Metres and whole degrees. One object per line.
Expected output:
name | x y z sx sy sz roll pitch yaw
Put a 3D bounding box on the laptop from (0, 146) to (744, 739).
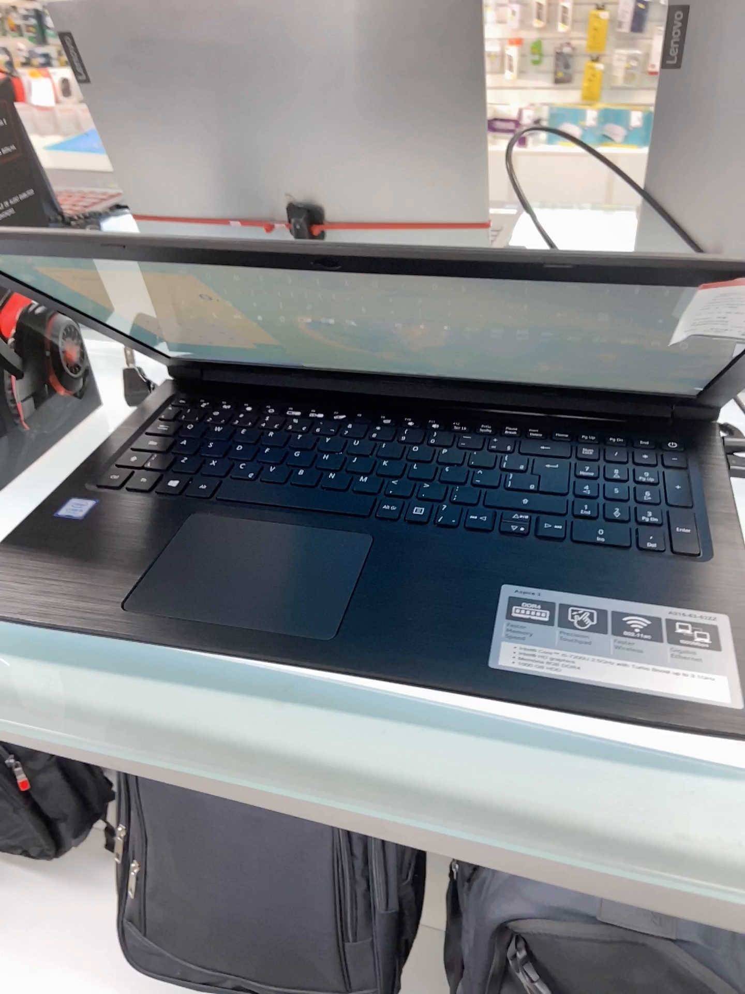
laptop | 0.000 -0.062 0.378 0.370 0.157 0.240 6 36 13
